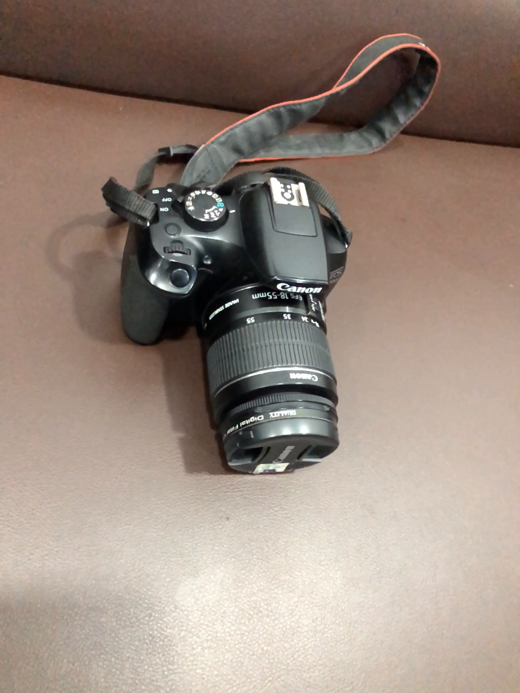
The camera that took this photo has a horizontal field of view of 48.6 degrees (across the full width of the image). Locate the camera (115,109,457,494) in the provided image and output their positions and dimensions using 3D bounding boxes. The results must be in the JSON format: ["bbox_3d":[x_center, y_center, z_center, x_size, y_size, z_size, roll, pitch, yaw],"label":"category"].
[{"bbox_3d":[-0.001,-0.022,0.310,0.130,0.089,0.171,3,57,-23],"label":"camera"}]
